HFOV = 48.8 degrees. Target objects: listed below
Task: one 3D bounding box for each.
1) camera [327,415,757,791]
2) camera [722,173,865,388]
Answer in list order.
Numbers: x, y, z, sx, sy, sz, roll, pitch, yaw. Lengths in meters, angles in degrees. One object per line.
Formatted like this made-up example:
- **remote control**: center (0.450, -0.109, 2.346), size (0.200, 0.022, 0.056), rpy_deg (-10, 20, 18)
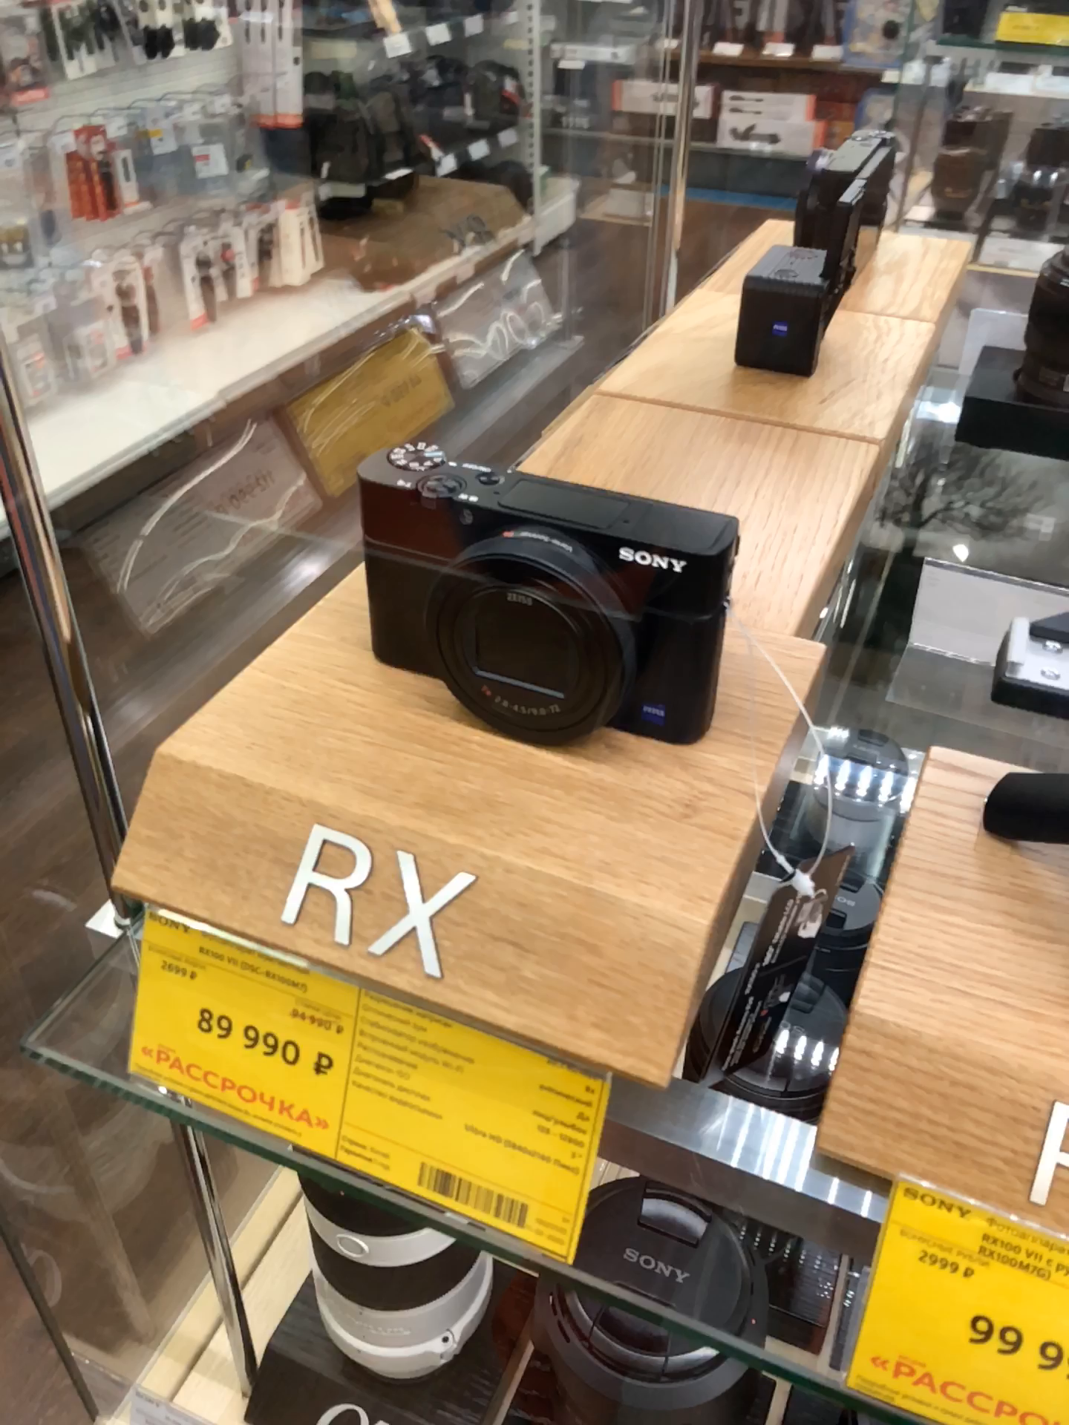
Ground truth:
- **camera**: center (0.001, -0.031, 0.316), size (0.100, 0.070, 0.040), rpy_deg (15, 39, 19)
- **camera**: center (0.109, -0.182, 0.496), size (0.040, 0.070, 0.052), rpy_deg (14, 39, 17)
